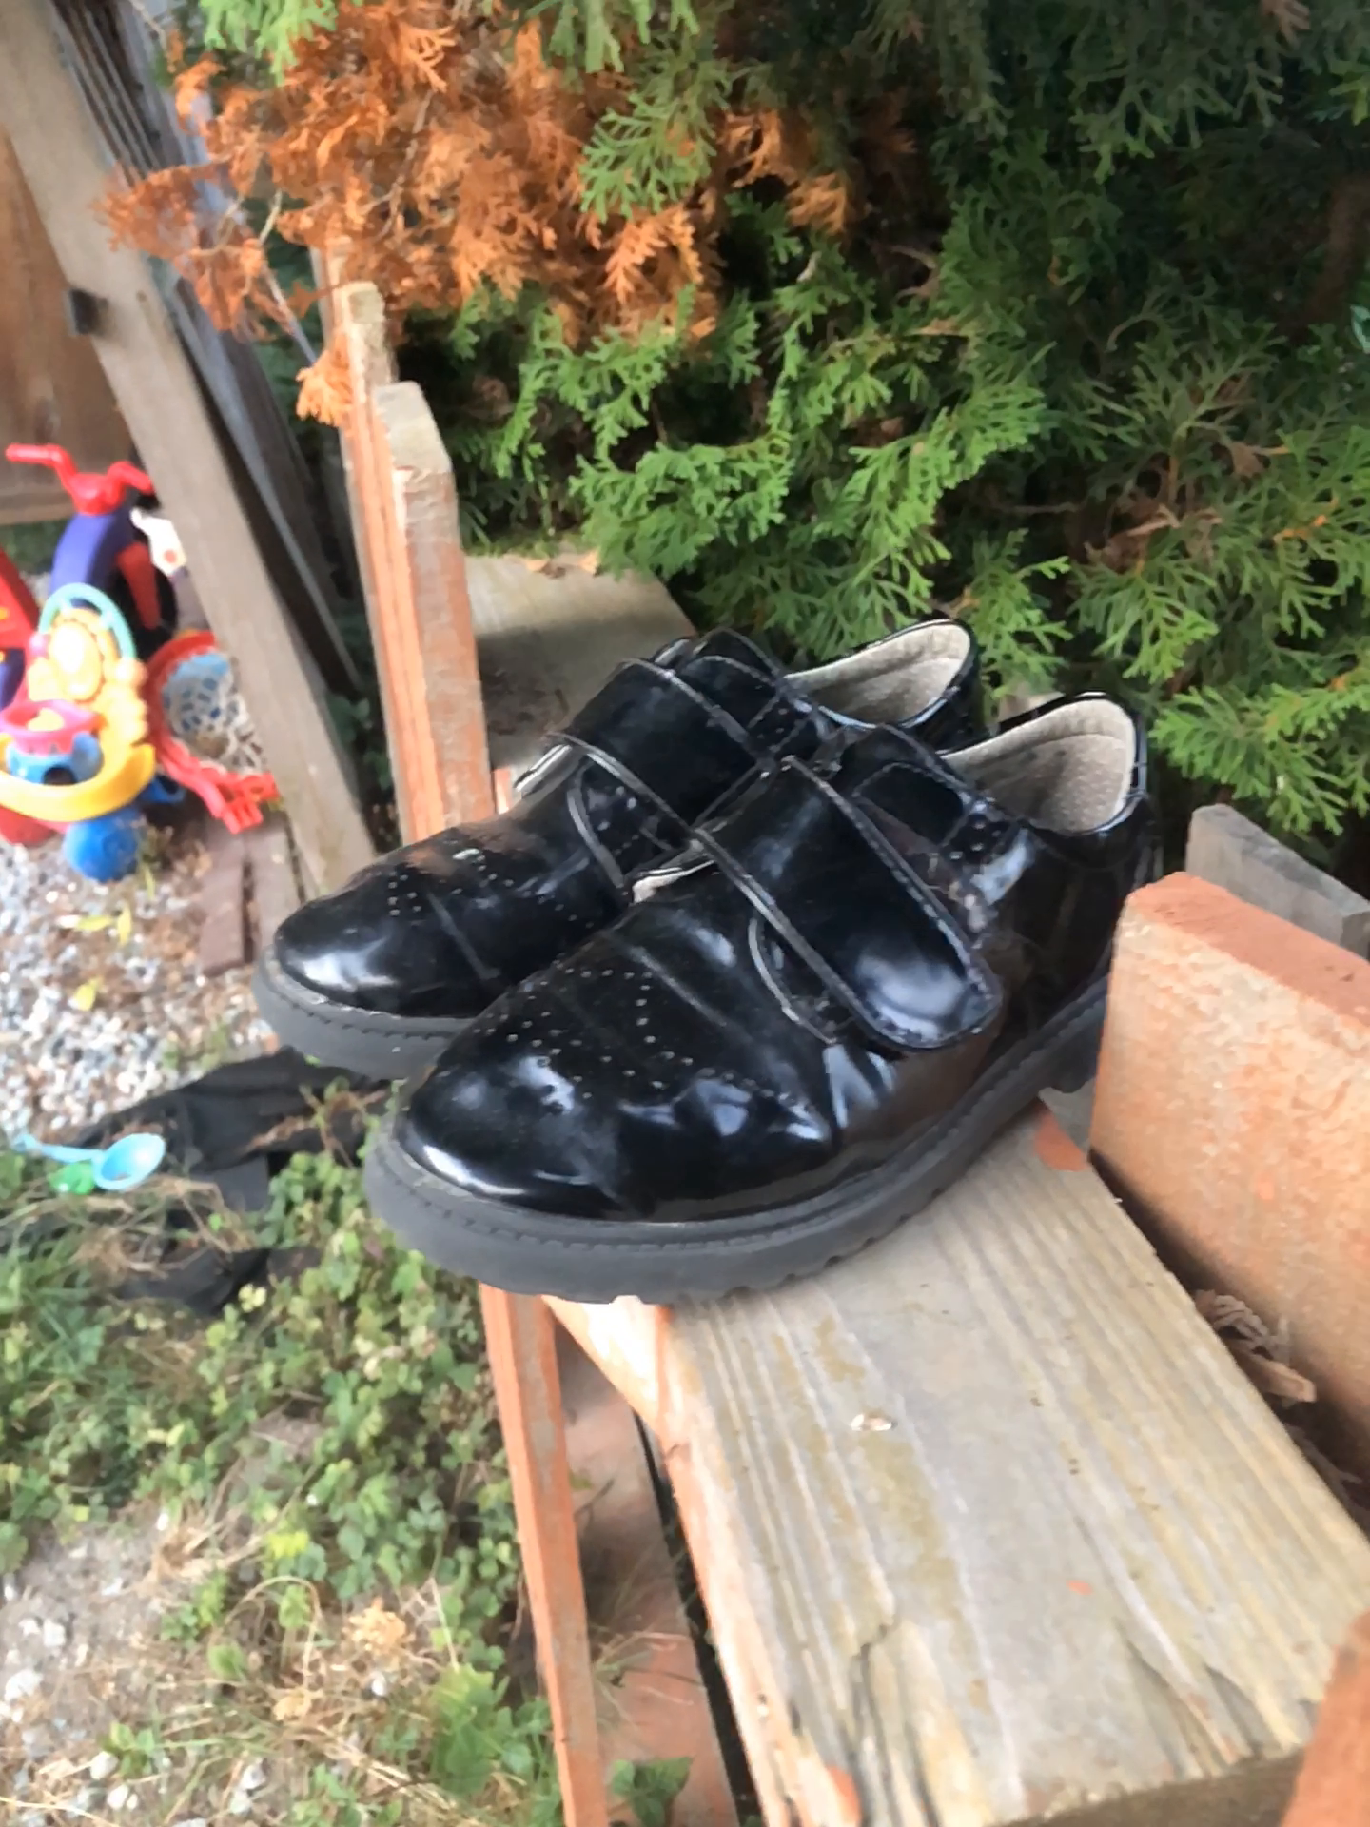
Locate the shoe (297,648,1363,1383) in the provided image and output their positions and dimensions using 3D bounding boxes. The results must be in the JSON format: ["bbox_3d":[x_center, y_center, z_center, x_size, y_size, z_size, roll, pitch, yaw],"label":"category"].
[{"bbox_3d":[0.041,0.005,0.349,0.230,0.070,0.090,-18,34,-31],"label":"shoe"}]

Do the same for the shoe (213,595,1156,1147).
[{"bbox_3d":[0.007,-0.025,0.419,0.240,0.070,0.091,-16,33,-28],"label":"shoe"}]
